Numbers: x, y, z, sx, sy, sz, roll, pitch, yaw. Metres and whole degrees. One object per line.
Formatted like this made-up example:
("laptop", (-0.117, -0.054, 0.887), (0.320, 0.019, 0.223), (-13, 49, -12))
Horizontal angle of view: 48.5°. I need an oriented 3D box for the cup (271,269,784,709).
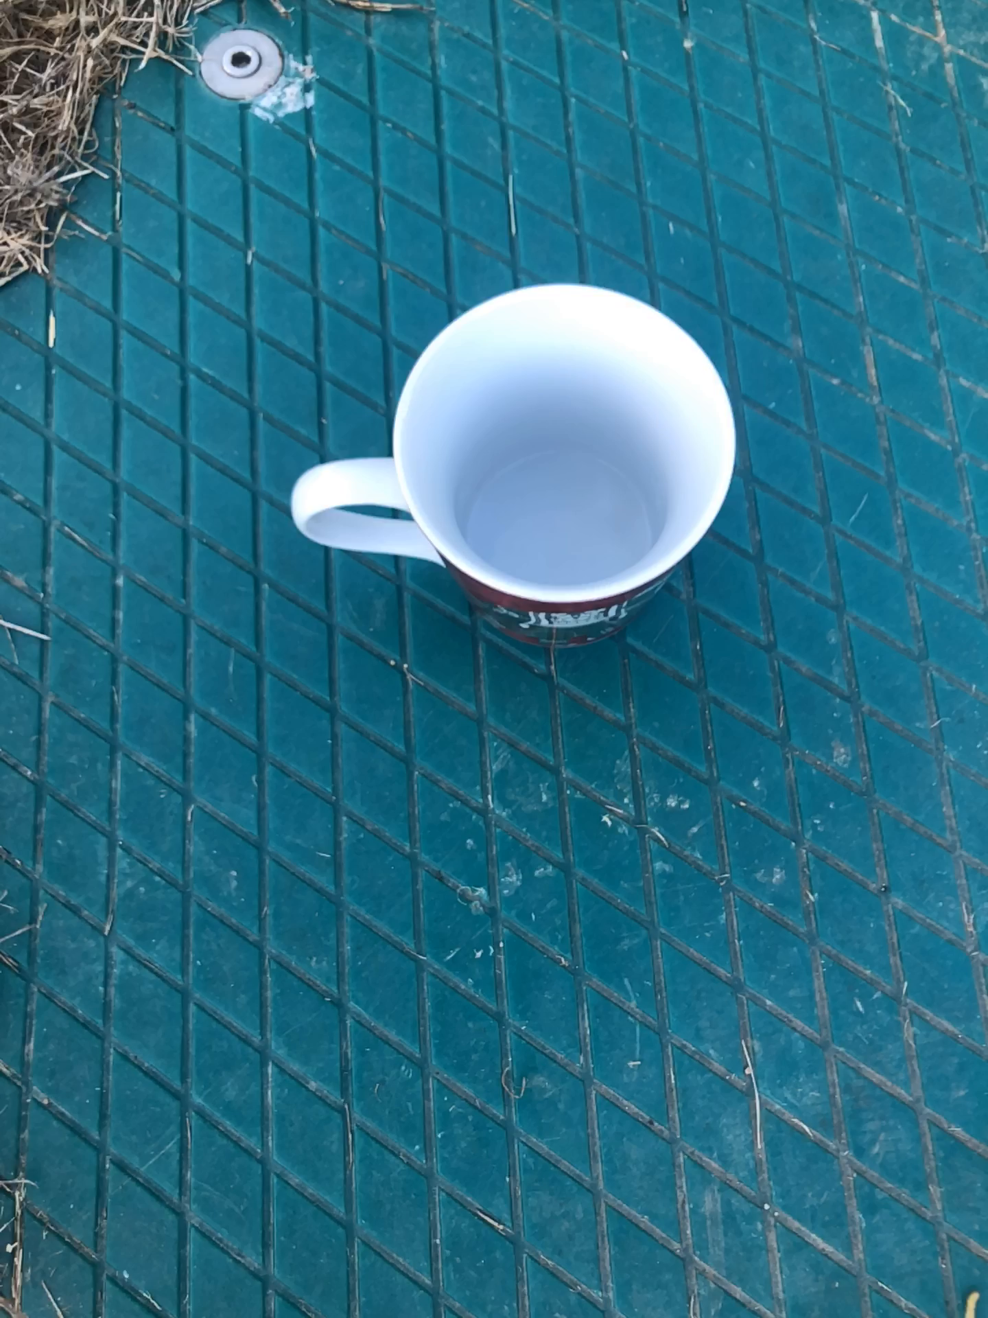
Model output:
("cup", (0.006, -0.039, 0.284), (0.110, 0.070, 0.082), (-5, 75, 1))
